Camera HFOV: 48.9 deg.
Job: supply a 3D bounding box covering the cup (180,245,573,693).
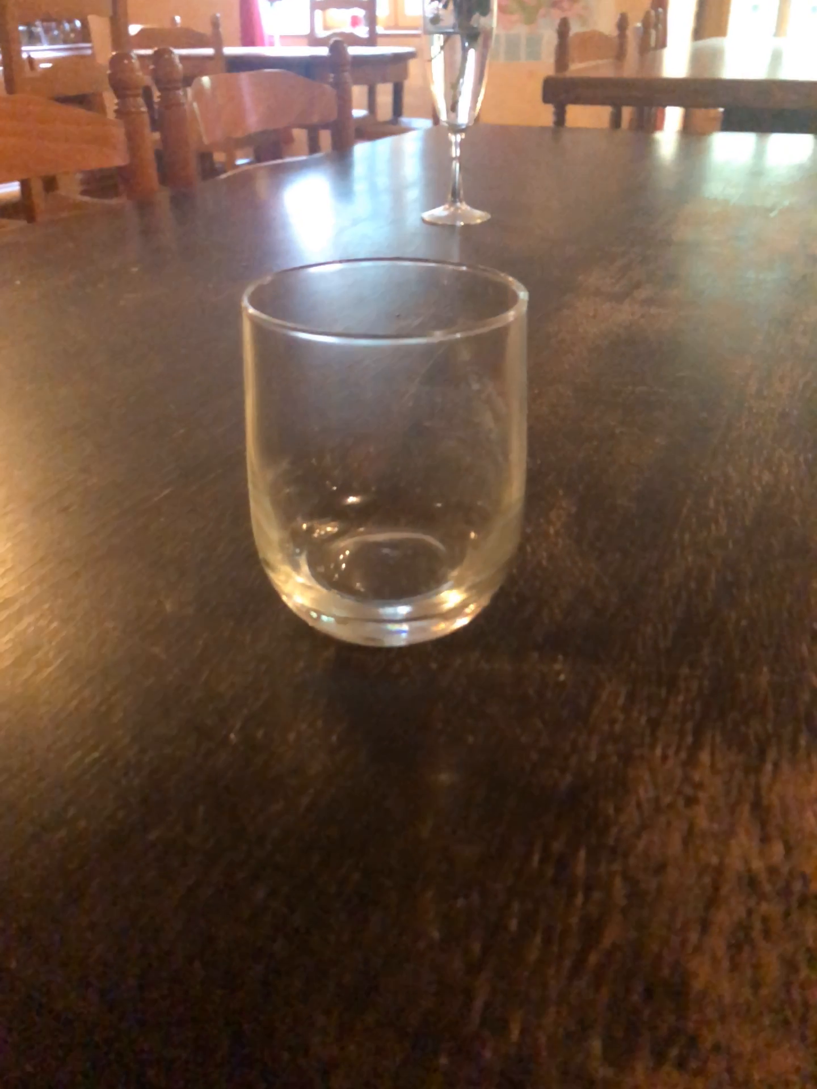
[{"bbox_3d":[-0.002,-0.025,0.236,0.070,0.084,0.078,9,32,18],"label":"cup"}]
